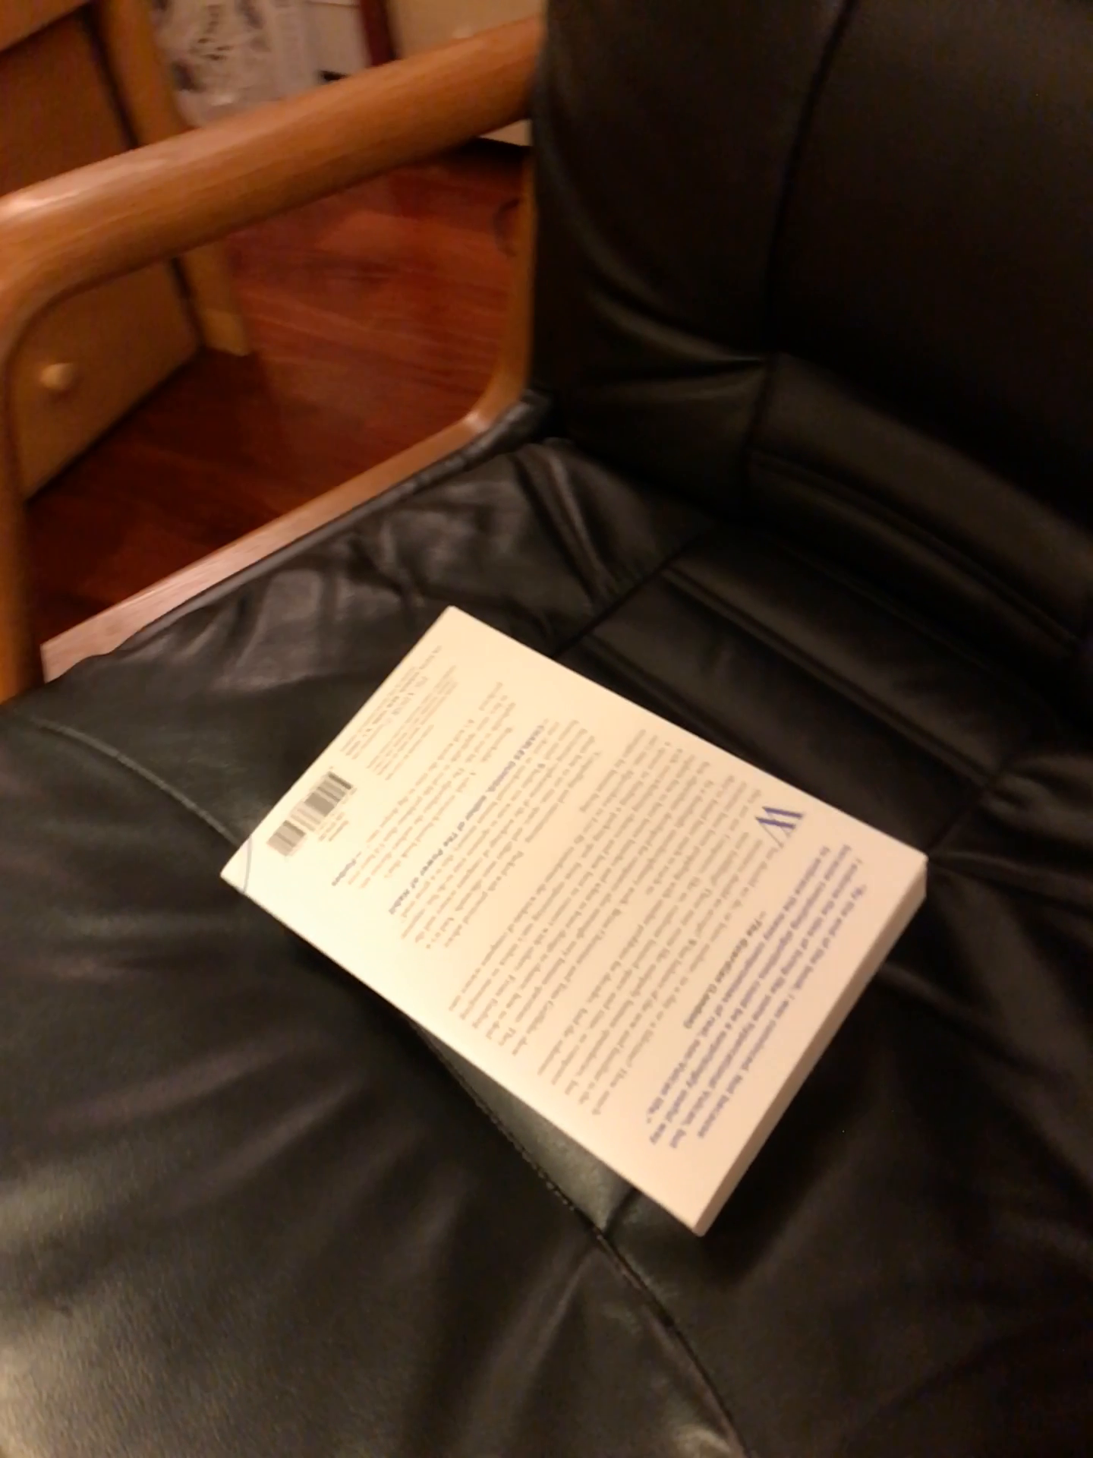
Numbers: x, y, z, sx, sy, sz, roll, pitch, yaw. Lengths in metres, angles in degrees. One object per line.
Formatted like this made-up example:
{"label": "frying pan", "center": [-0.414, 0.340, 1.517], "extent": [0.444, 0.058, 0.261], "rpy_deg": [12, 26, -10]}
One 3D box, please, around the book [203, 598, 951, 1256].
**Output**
{"label": "book", "center": [0.005, 0.058, 0.471], "extent": [0.250, 0.020, 0.161], "rpy_deg": [30, 66, 26]}
